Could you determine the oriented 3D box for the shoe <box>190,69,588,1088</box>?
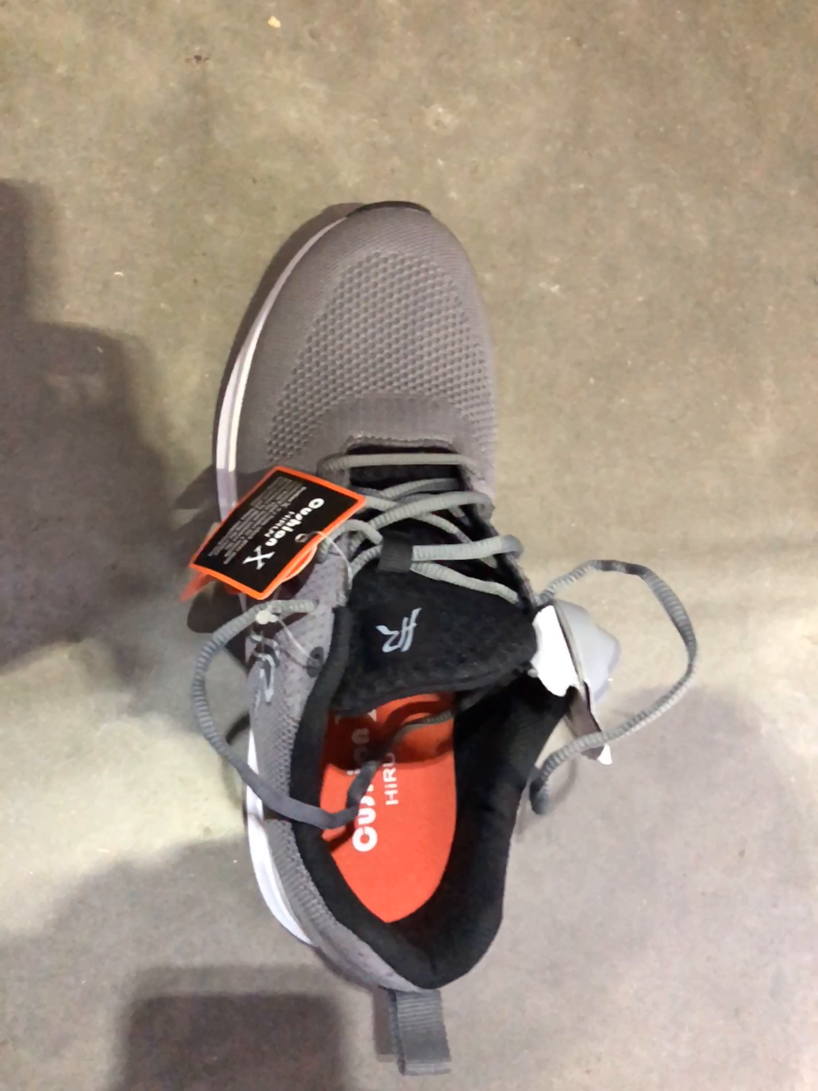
[{"bbox_3d":[-0.017,0.006,0.347,0.110,0.100,0.320,-3,86,-16],"label":"shoe"}]
